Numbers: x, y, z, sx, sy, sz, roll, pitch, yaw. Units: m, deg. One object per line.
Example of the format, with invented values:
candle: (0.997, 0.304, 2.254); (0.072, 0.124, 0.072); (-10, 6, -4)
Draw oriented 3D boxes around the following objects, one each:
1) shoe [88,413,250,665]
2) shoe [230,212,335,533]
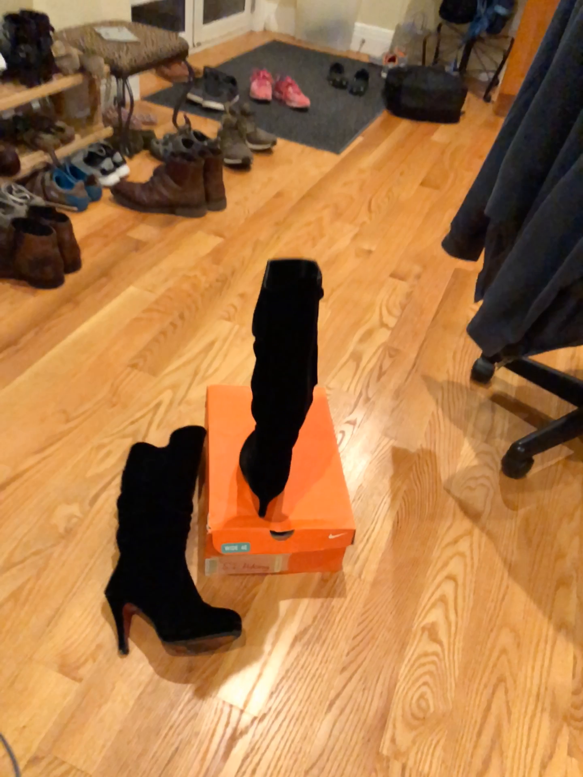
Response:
shoe: (-0.184, 0.209, 0.999); (0.206, 0.088, 0.401); (0, 41, -9)
shoe: (-0.025, -0.010, 0.889); (0.089, 0.397, 0.217); (4, 40, -6)
